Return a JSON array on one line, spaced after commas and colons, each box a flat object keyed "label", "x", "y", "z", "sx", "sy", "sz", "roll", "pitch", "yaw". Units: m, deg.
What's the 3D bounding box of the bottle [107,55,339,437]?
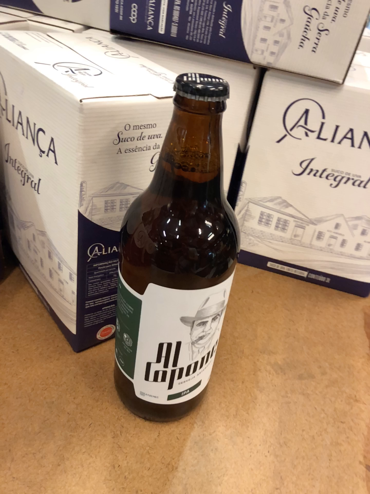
[{"label": "bottle", "x": 0.004, "y": 0.012, "z": 0.259, "sx": 0.080, "sy": 0.228, "sz": 0.070, "roll": -10, "pitch": 40, "yaw": -26}]
